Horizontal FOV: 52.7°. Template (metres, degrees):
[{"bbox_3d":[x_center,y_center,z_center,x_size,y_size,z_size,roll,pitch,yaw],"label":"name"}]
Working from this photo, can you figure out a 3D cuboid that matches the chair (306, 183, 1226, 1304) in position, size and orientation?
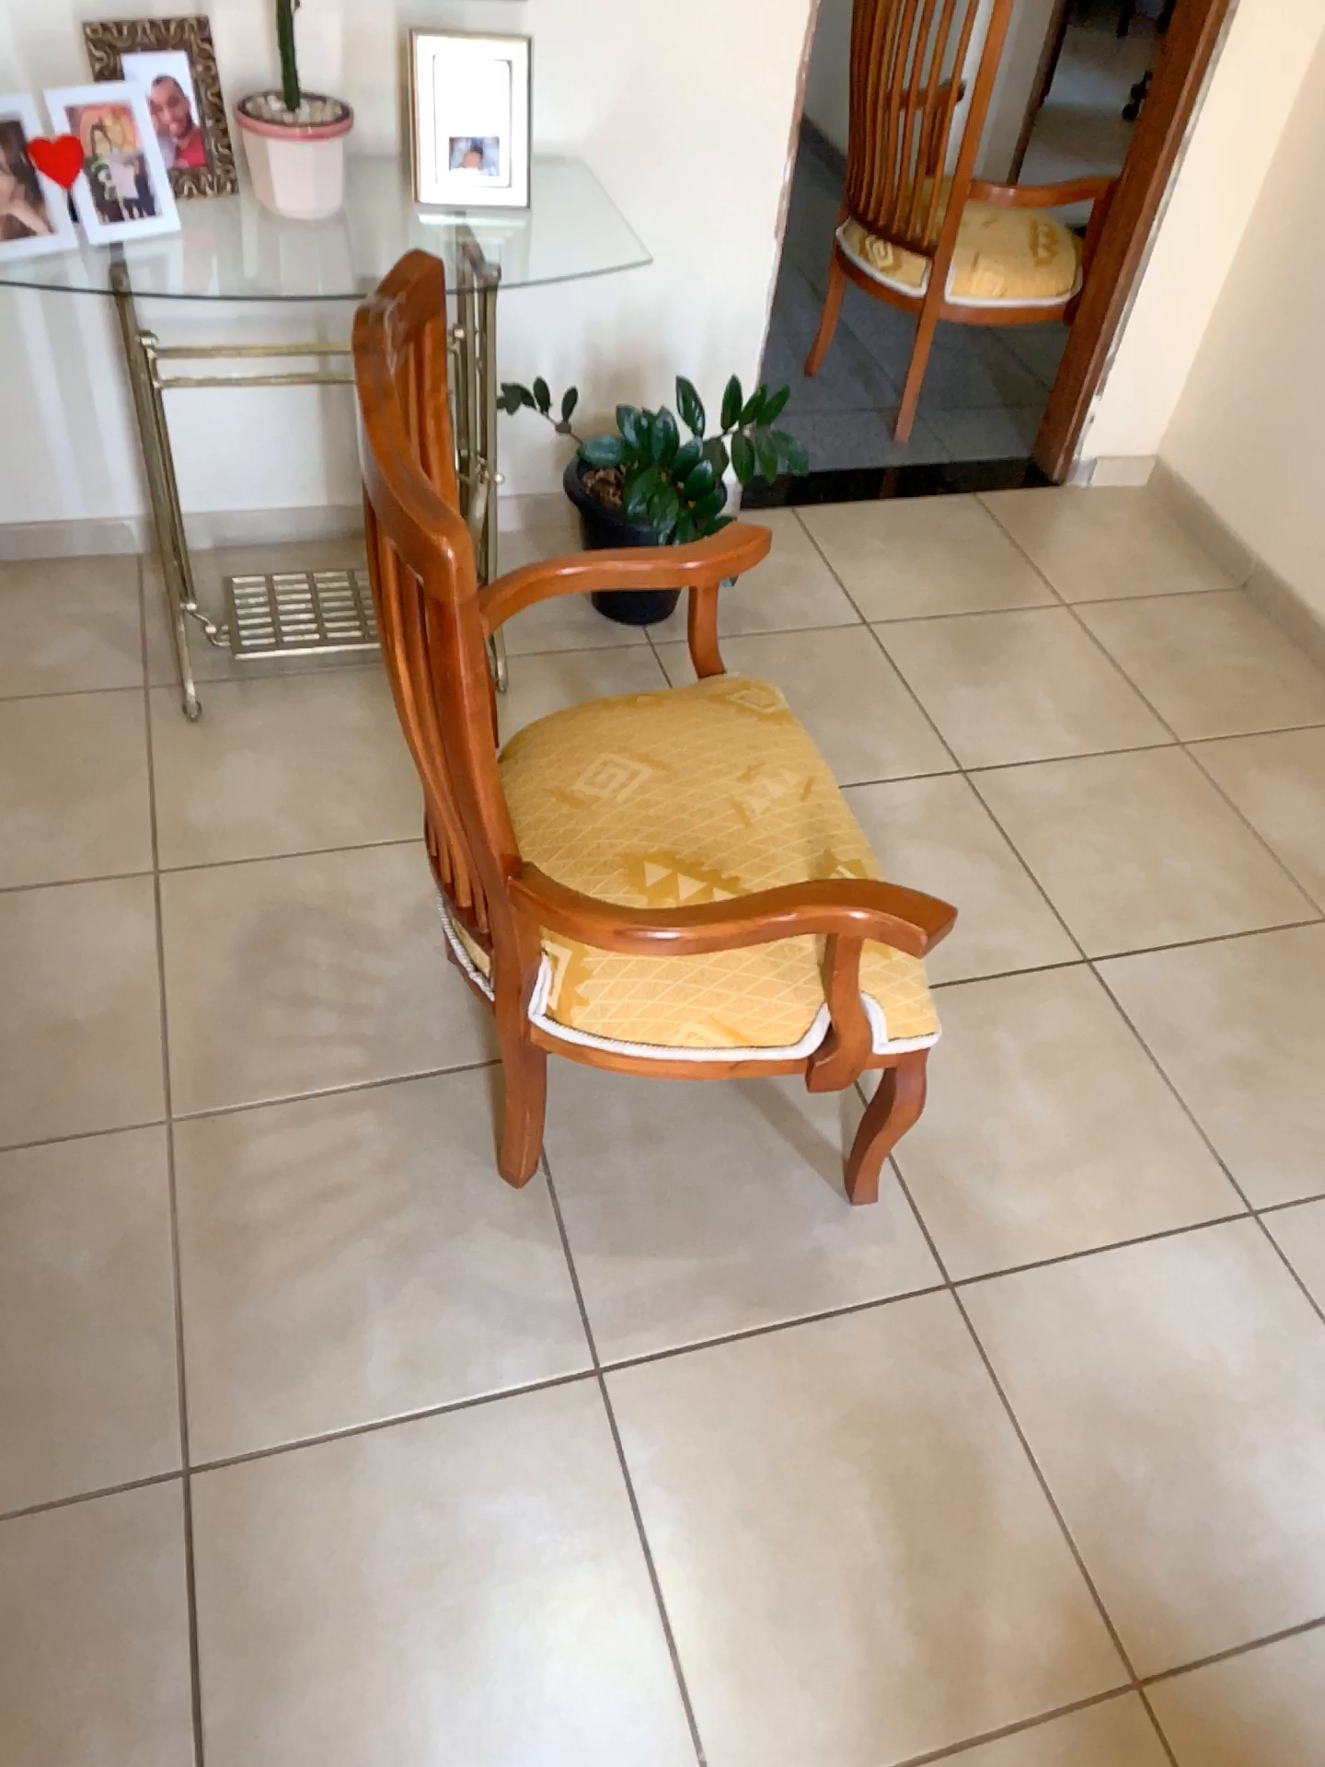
[{"bbox_3d":[-0.010,-0.120,1.494,0.631,1.015,0.623,-6,46,-15],"label":"chair"}]
